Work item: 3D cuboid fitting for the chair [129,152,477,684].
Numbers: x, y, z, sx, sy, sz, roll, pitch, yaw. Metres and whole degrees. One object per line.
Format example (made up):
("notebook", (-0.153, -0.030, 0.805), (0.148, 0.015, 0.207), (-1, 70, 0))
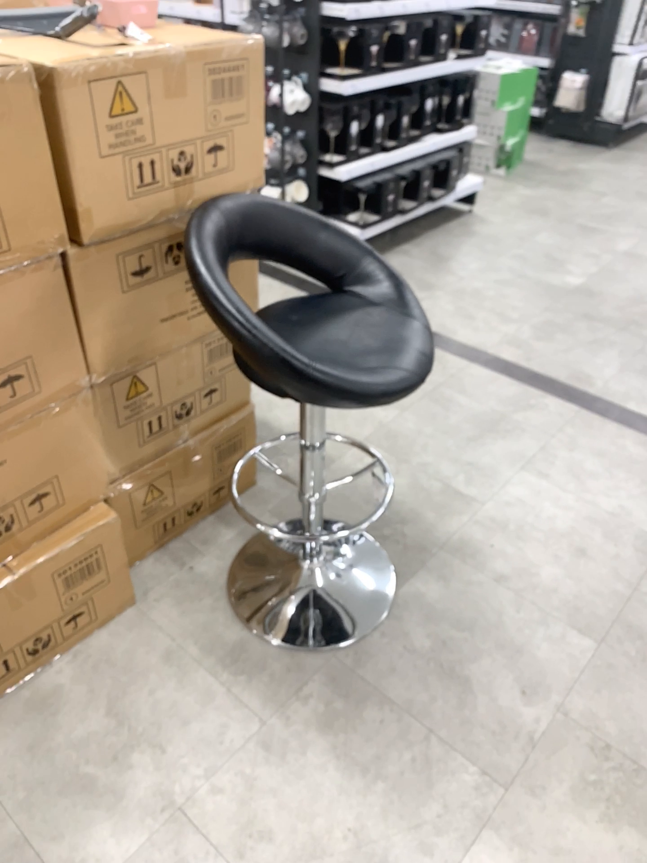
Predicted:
("chair", (-0.006, -0.013, 1.416), (0.483, 0.933, 0.514), (9, 37, 9))
